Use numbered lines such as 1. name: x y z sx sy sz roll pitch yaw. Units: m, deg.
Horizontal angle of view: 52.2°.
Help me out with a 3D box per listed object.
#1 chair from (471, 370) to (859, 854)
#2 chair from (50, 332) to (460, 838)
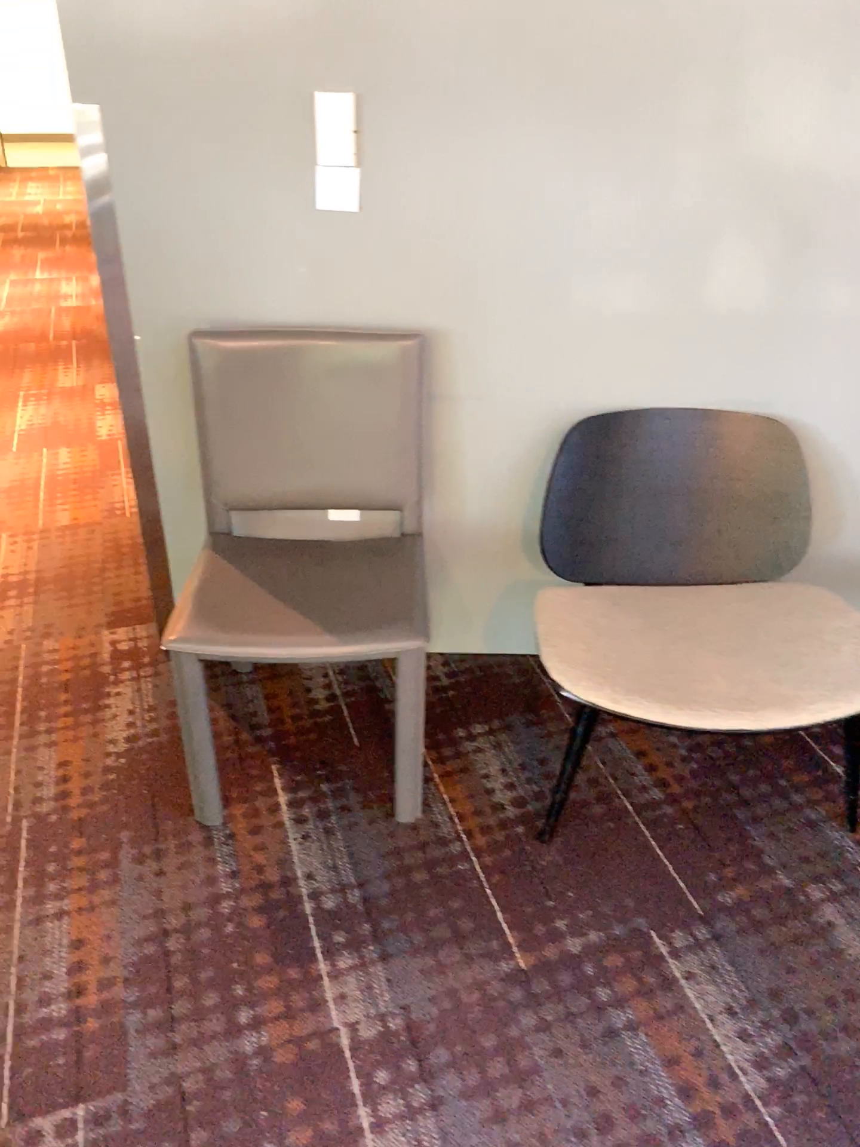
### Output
1. chair: 0.547 0.059 2.017 0.790 0.835 0.714 -1 32 -4
2. chair: -0.306 -0.001 1.900 0.640 0.835 0.694 -1 32 -4
